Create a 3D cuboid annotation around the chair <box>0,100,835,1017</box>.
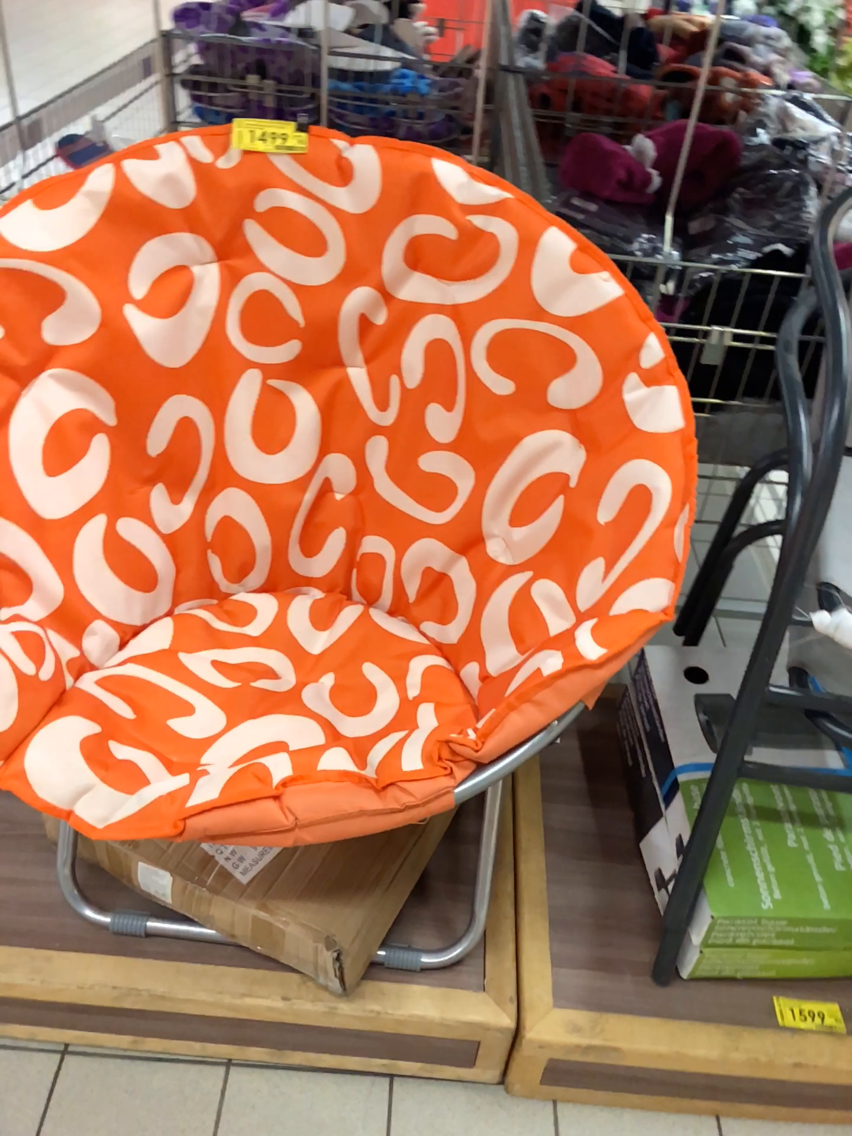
[{"bbox_3d":[-0.119,-0.067,1.010,0.733,0.605,0.716,7,37,2],"label":"chair"}]
